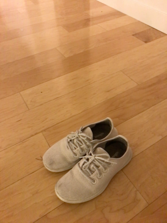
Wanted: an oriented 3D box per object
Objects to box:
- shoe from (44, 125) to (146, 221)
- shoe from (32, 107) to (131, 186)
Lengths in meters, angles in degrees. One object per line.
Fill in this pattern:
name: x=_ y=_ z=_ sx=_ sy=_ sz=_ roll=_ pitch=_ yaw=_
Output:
shoe: x=0.040 y=0.166 z=0.536 sx=0.281 sy=0.079 sz=0.110 roll=-30 pitch=54 yaw=-23
shoe: x=-0.002 y=0.103 z=0.589 sx=0.291 sy=0.079 sz=0.110 roll=-24 pitch=51 yaw=-19
